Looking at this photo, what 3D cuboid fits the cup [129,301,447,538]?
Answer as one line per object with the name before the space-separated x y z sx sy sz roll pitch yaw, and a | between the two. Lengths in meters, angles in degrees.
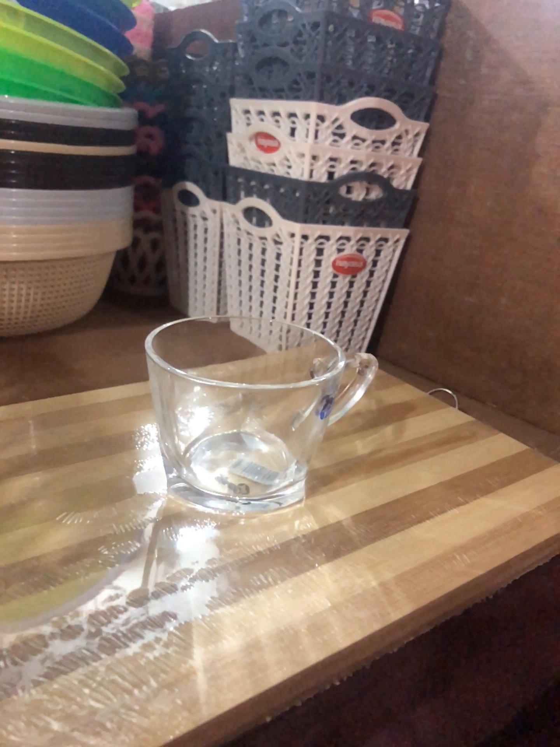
cup | 0.001 0.011 0.266 0.110 0.060 0.070 -8 26 -31
